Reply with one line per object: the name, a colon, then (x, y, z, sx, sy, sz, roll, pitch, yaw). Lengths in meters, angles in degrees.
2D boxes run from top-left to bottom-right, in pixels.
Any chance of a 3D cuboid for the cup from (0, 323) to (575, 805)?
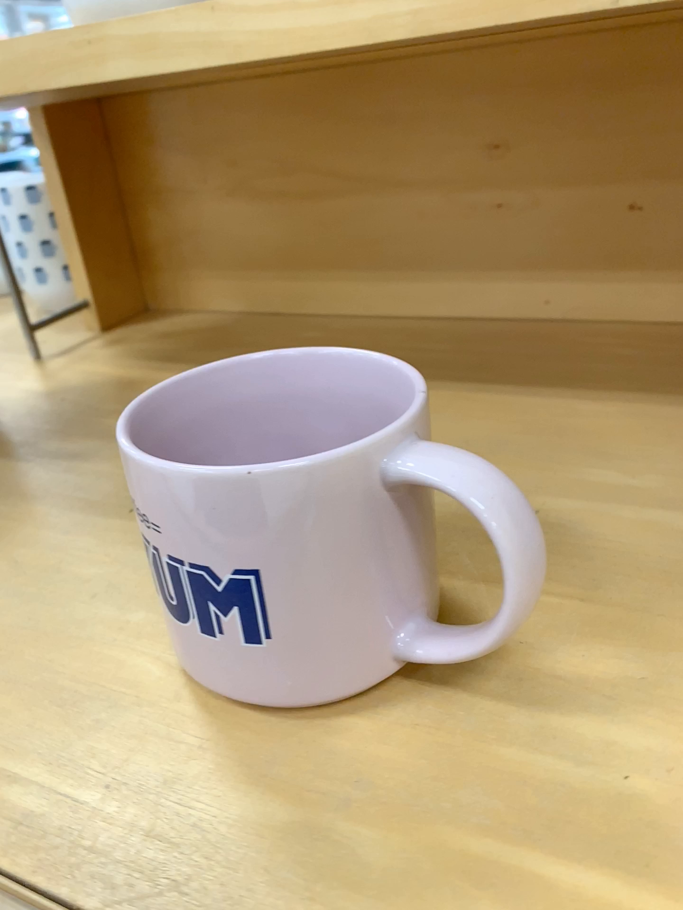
cup: (-0.012, 0.017, 0.222, 0.141, 0.082, 0.097, 8, 31, 28)
